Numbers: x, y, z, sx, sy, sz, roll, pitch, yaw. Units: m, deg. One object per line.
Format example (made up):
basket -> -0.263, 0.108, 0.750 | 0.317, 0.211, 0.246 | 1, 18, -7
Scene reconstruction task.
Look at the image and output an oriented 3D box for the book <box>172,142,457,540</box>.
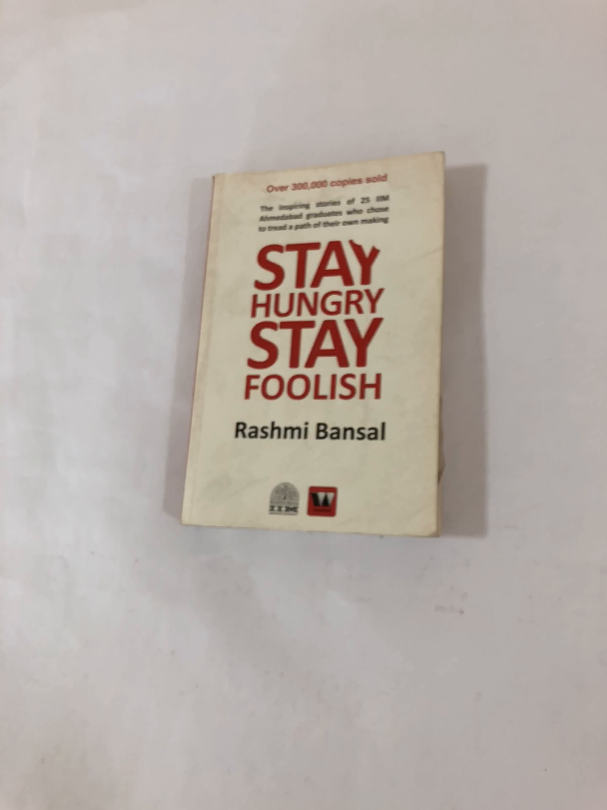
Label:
book -> 0.011, -0.032, 0.348 | 0.130, 0.040, 0.190 | 0, 76, 15
